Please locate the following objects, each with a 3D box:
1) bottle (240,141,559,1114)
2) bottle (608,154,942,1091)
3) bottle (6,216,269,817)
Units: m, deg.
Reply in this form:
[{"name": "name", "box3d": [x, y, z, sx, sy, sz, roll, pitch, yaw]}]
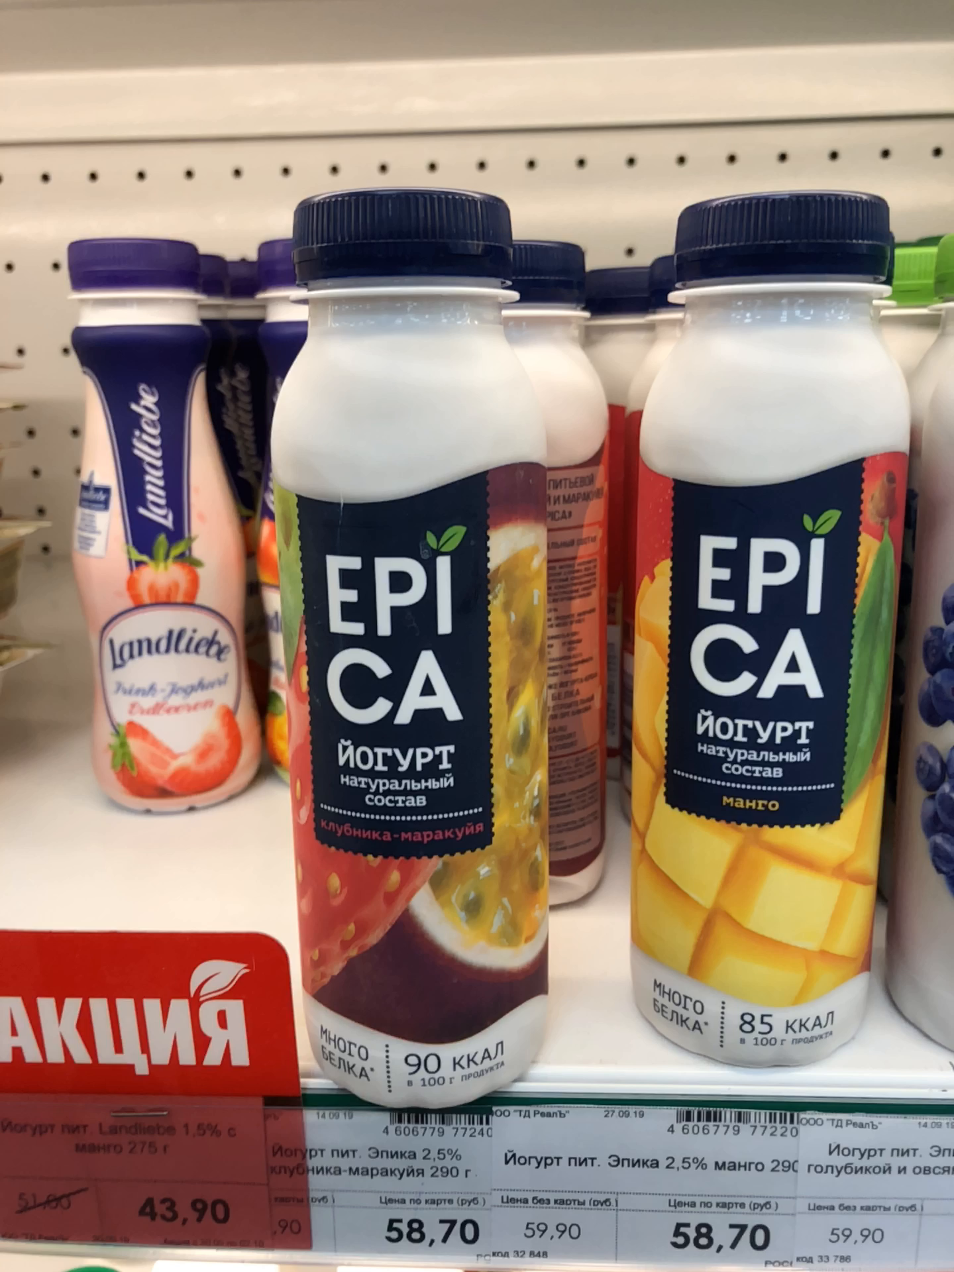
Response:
[{"name": "bottle", "box3d": [-0.010, 0.003, 0.216, 0.050, 0.180, 0.050, -1, 15, 0]}, {"name": "bottle", "box3d": [0.058, 0.000, 0.225, 0.053, 0.177, 0.051, -1, 15, 0]}, {"name": "bottle", "box3d": [-0.105, -0.037, 0.349, 0.053, 0.182, 0.051, -1, 15, 0]}]
